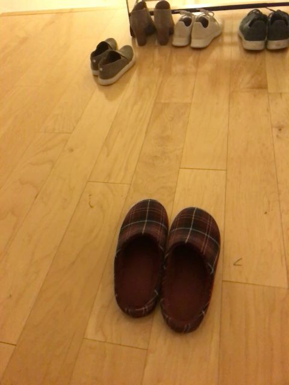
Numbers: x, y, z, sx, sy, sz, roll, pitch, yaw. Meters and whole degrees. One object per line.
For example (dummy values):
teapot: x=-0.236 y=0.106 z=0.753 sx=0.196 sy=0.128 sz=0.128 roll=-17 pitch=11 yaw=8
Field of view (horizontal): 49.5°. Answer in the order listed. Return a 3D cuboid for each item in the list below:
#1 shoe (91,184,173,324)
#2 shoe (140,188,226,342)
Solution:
shoe: x=-0.012 y=0.109 z=0.647 sx=0.120 sy=0.070 sz=0.282 roll=1 pitch=49 yaw=10
shoe: x=0.087 y=0.124 z=0.615 sx=0.120 sy=0.070 sz=0.282 roll=5 pitch=50 yaw=14
